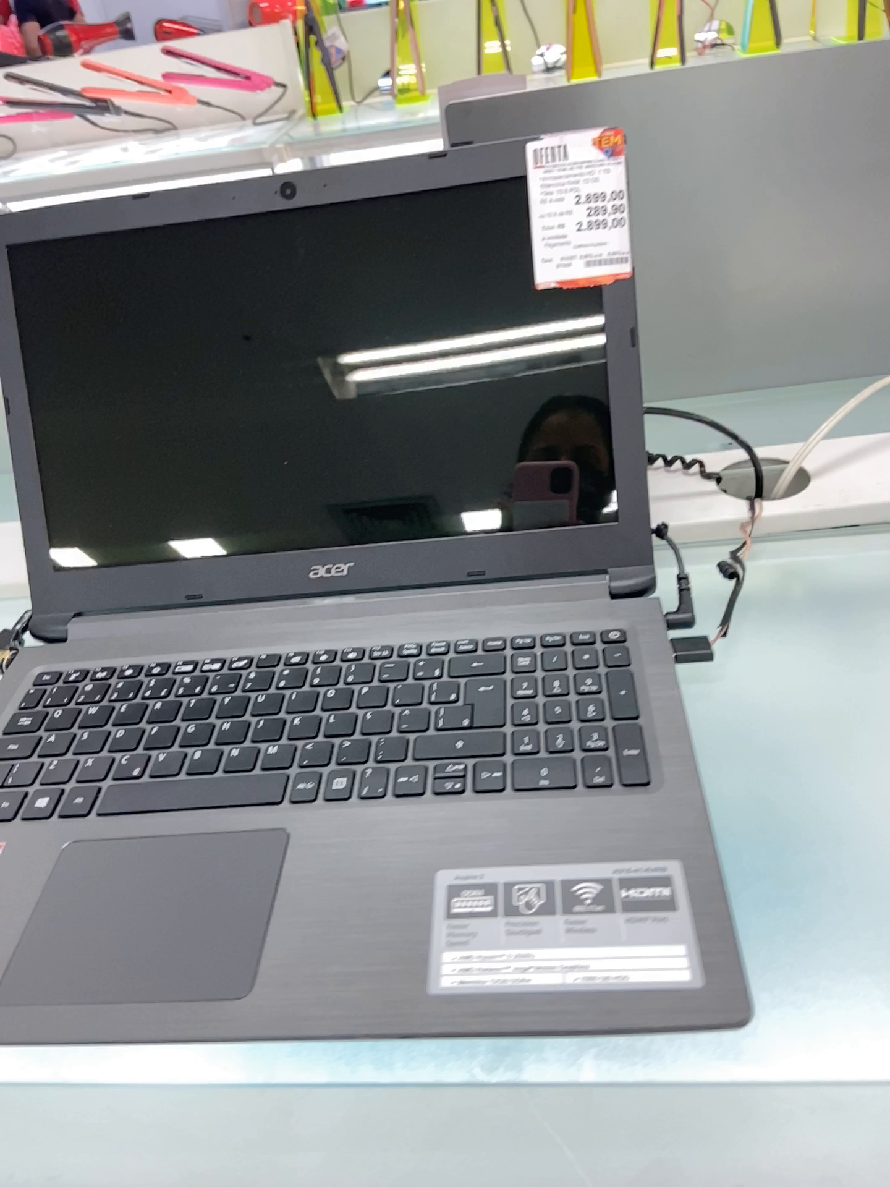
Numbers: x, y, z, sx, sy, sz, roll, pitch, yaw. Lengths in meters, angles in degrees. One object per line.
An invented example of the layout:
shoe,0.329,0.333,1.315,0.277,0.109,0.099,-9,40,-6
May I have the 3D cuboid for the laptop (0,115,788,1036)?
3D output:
laptop,-0.079,-0.039,0.392,0.340,0.194,0.355,-5,36,8
